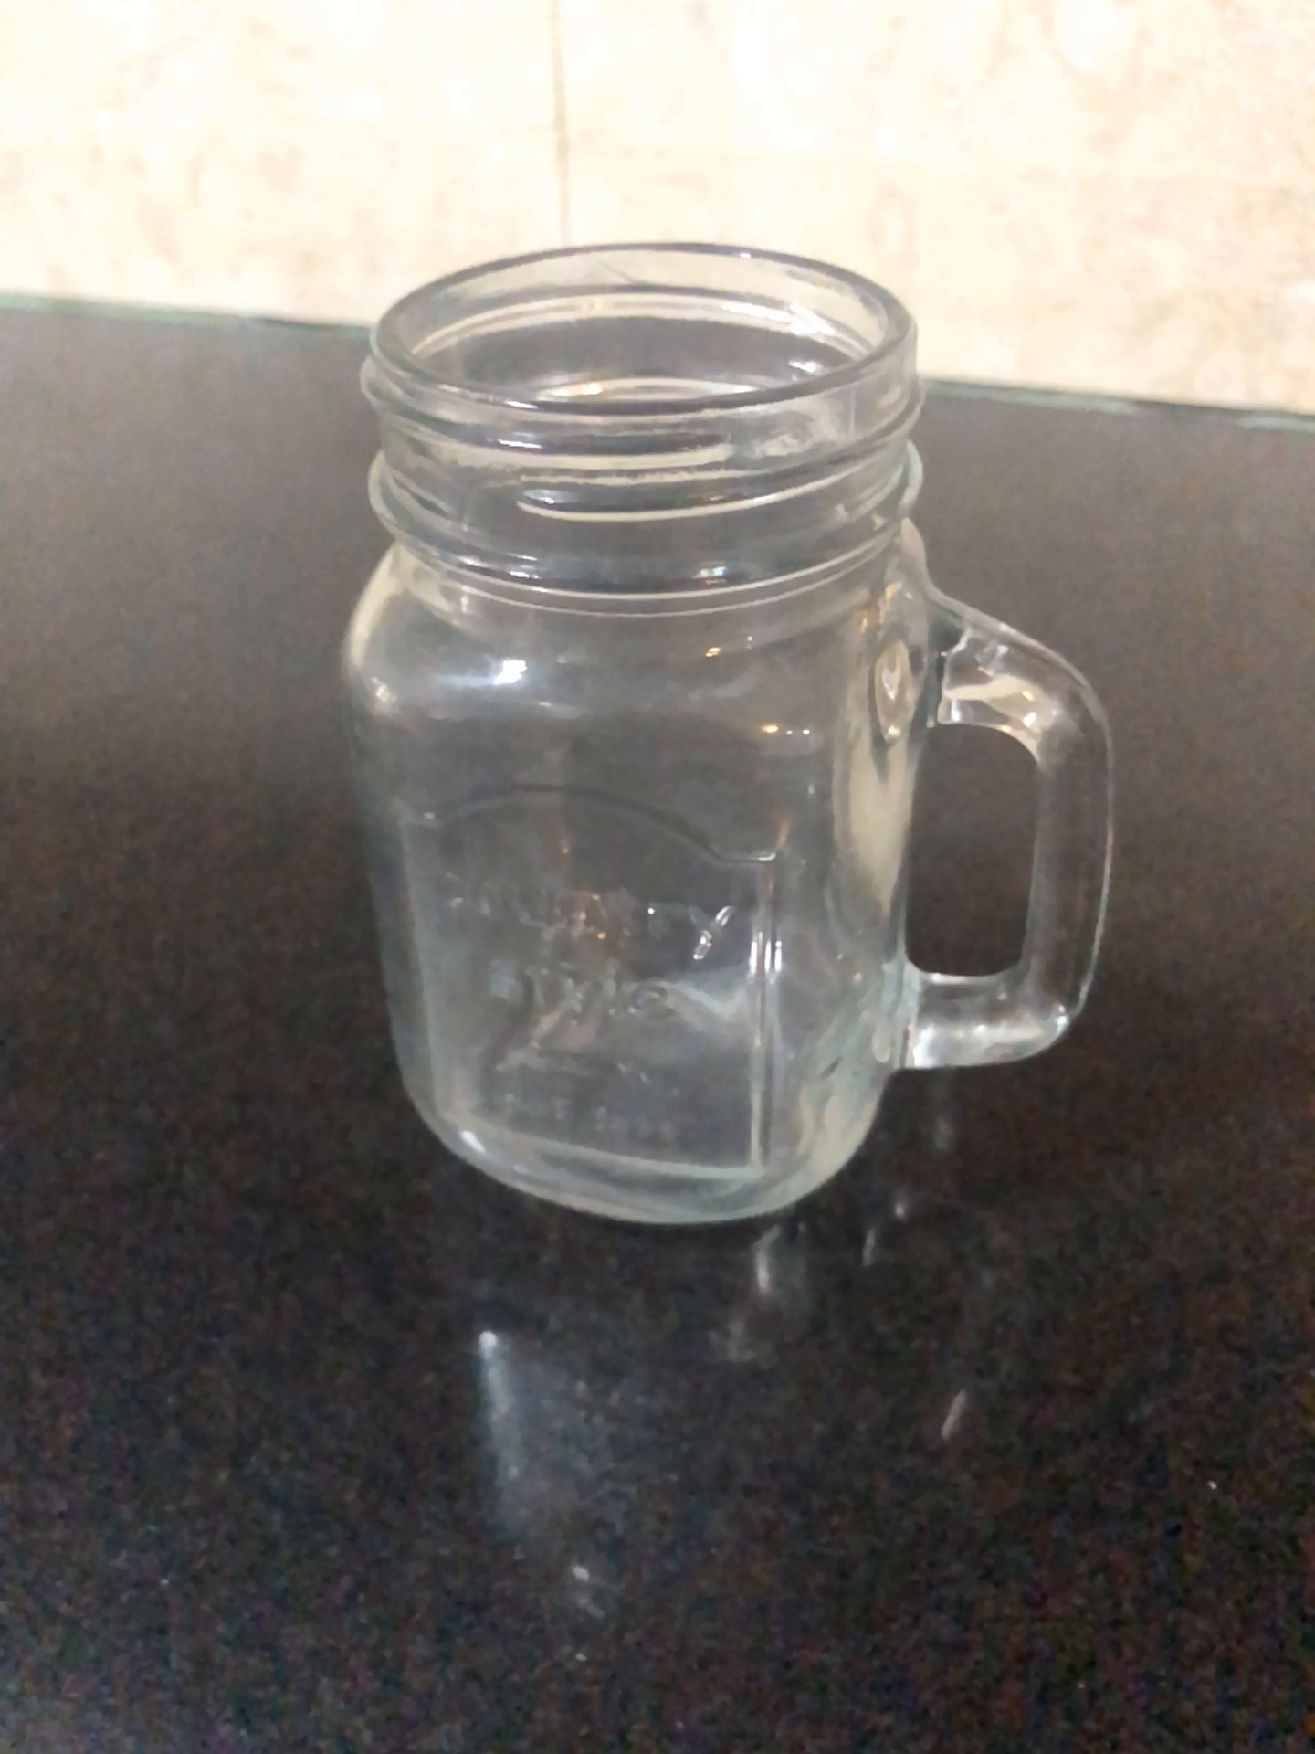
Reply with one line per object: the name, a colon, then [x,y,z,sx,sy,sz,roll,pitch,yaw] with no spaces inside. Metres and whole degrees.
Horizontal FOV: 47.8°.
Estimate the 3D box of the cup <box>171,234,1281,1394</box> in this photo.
cup: [0.014,-0.011,0.213,0.110,0.129,0.081,8,37,13]
